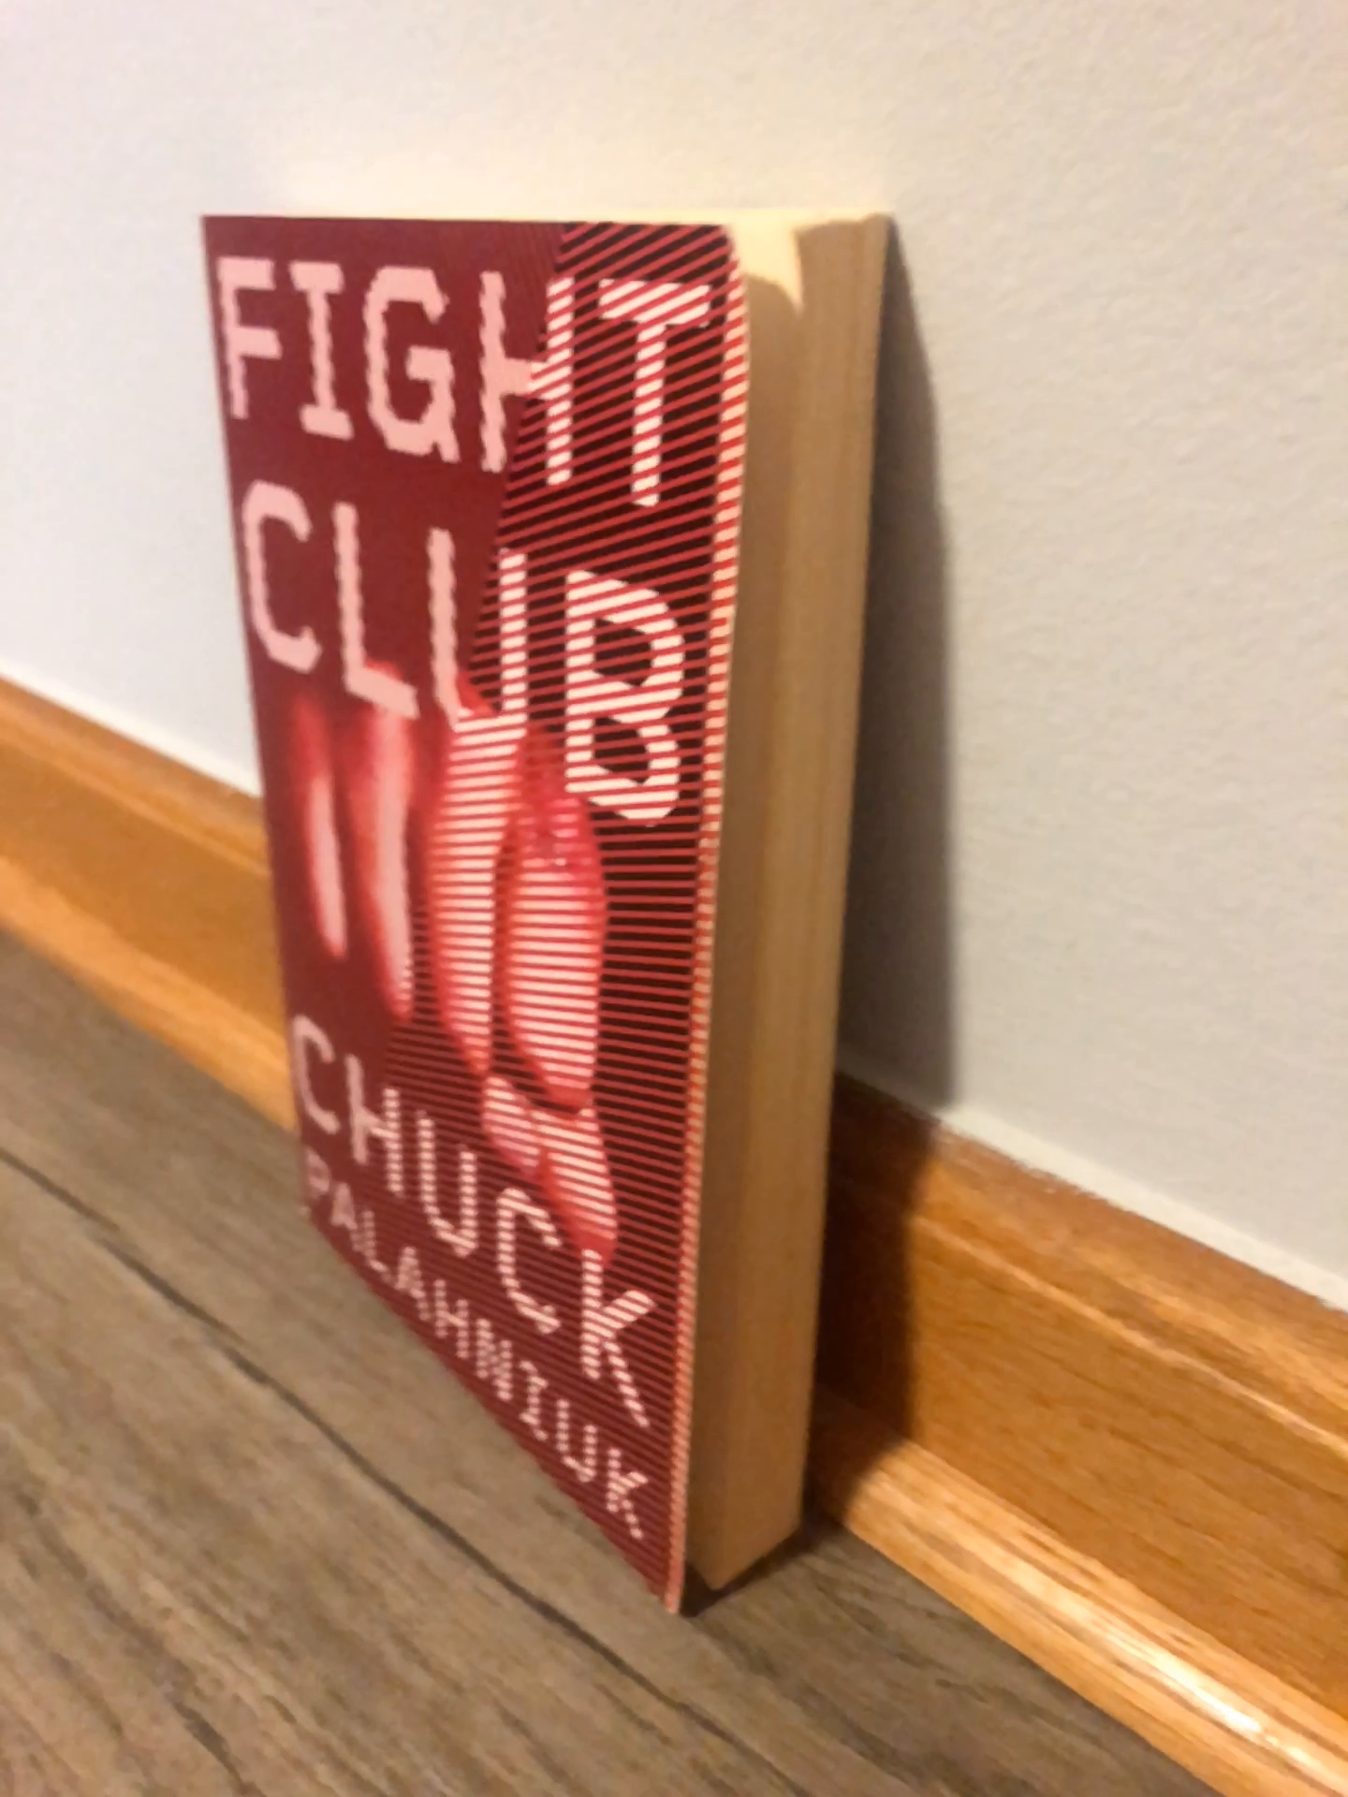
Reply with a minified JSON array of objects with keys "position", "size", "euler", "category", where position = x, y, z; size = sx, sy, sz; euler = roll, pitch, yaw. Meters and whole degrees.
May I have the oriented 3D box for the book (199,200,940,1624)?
[{"position":[-0.026,-0.004,0.261],"size":[0.030,0.210,0.139],"euler":[-19,31,-36],"category":"book"}]
